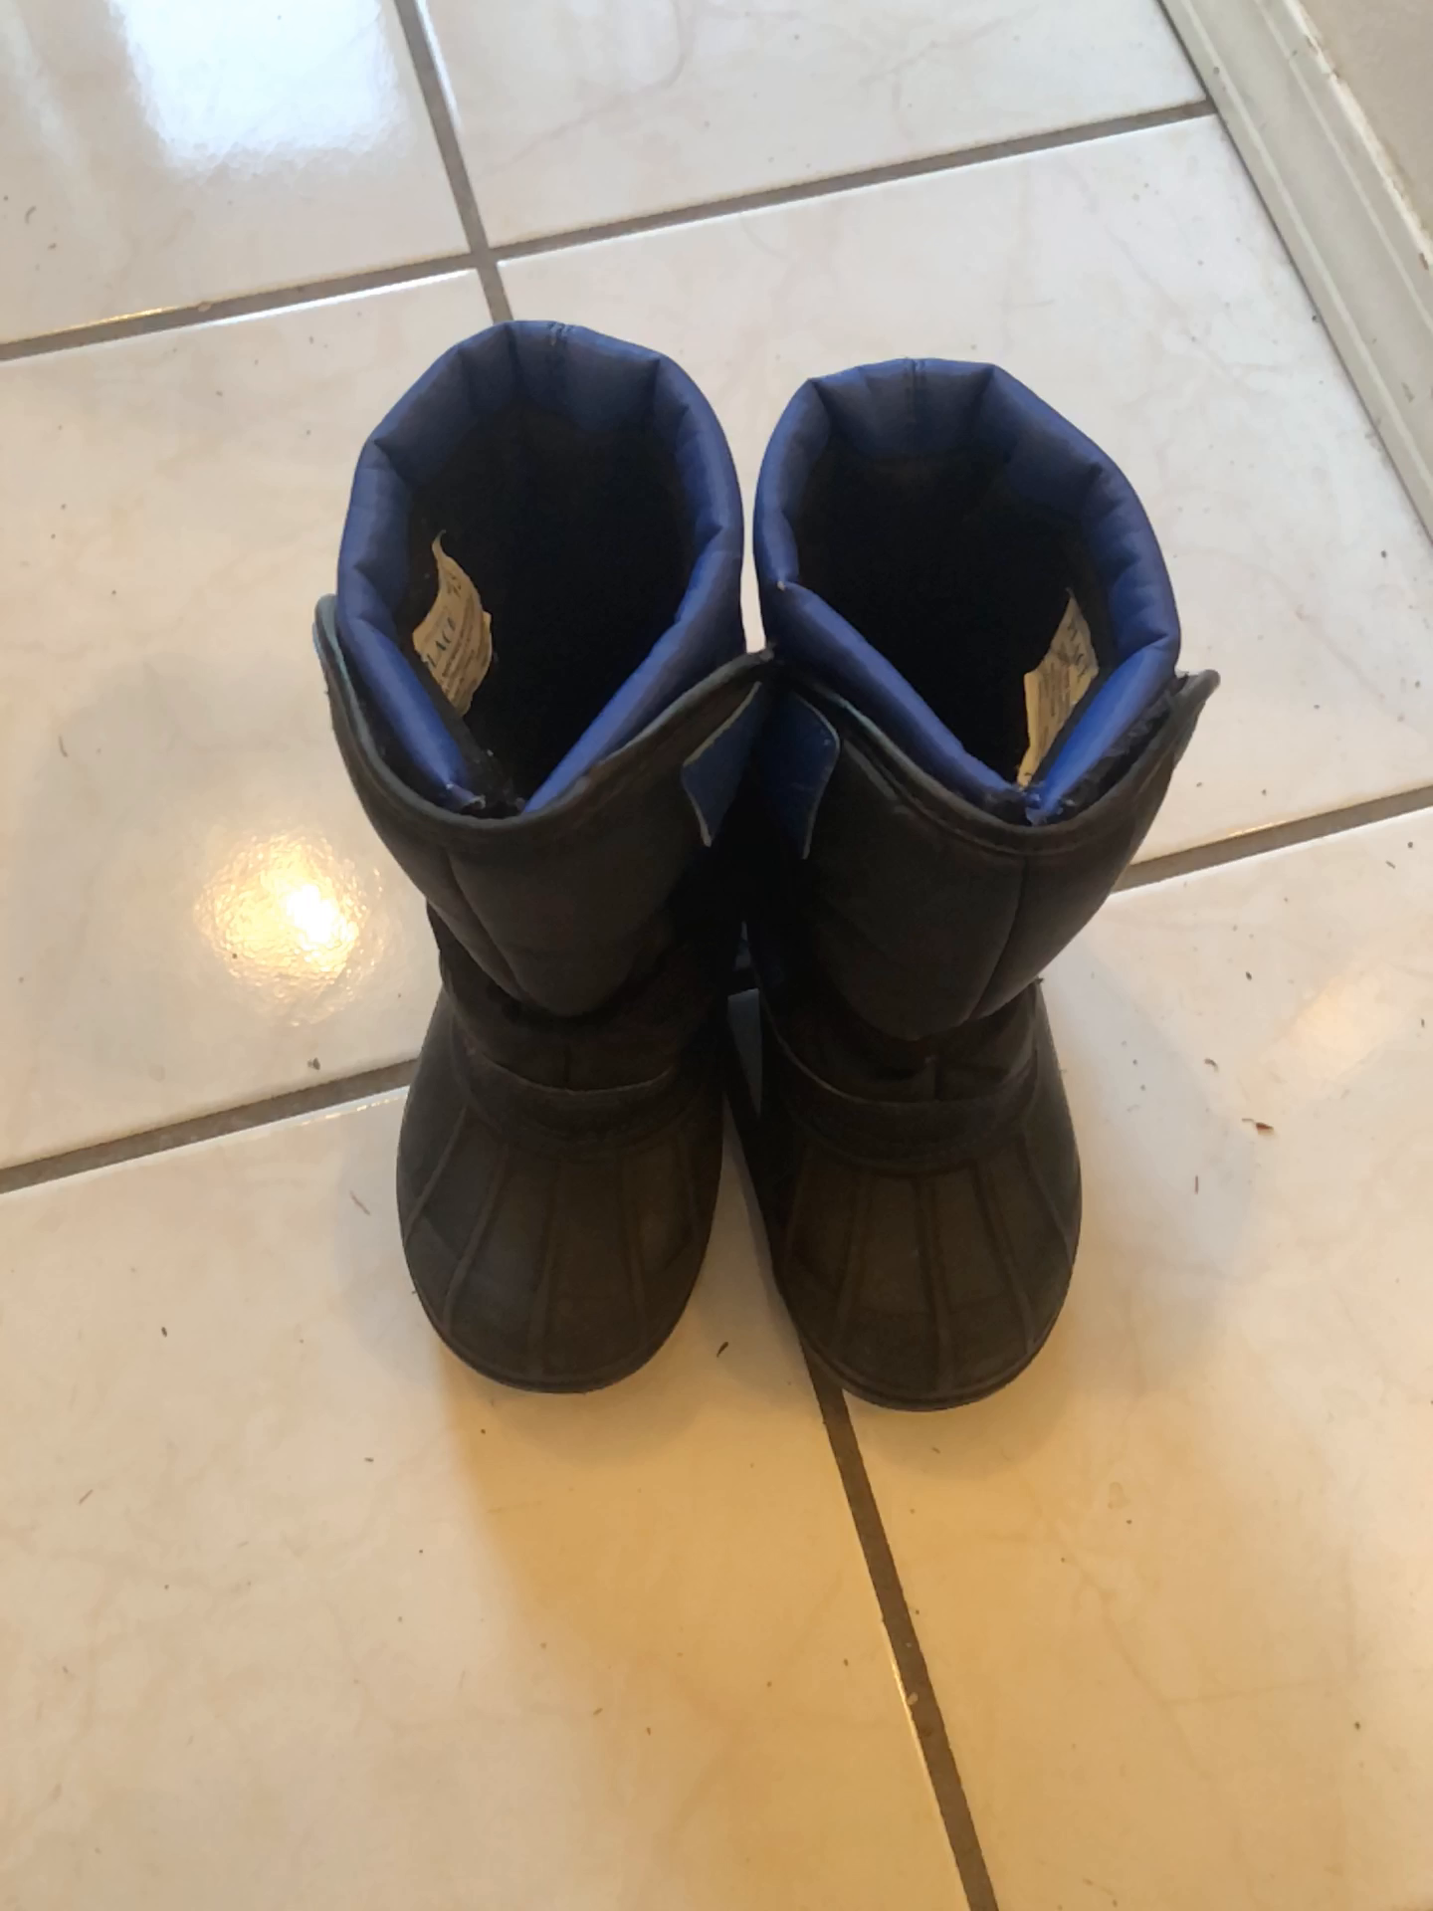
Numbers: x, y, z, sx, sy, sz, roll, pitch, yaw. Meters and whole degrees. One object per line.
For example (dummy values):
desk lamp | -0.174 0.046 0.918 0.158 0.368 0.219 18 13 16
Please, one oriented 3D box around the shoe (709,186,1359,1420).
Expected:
shoe | 0.053 -0.019 0.401 0.100 0.199 0.251 -1 70 -2

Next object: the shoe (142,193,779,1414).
shoe | -0.042 -0.015 0.382 0.100 0.199 0.231 1 70 -1
